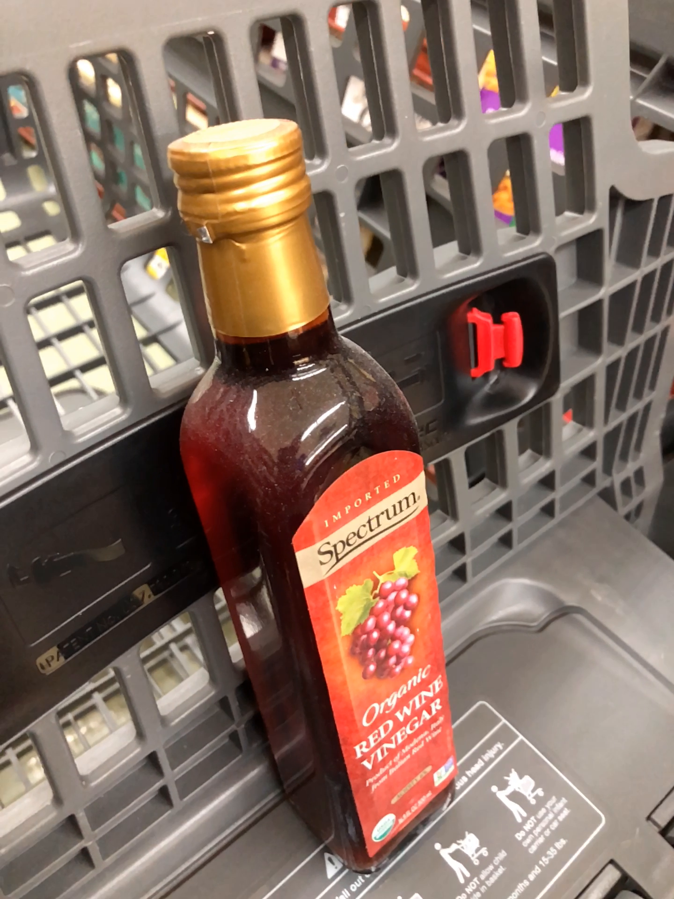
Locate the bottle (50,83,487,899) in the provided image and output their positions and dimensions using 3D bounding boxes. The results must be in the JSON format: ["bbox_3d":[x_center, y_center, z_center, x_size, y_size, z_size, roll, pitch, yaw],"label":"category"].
[{"bbox_3d":[-0.003,0.034,0.251,0.070,0.270,0.070,-6,34,4],"label":"bottle"}]
